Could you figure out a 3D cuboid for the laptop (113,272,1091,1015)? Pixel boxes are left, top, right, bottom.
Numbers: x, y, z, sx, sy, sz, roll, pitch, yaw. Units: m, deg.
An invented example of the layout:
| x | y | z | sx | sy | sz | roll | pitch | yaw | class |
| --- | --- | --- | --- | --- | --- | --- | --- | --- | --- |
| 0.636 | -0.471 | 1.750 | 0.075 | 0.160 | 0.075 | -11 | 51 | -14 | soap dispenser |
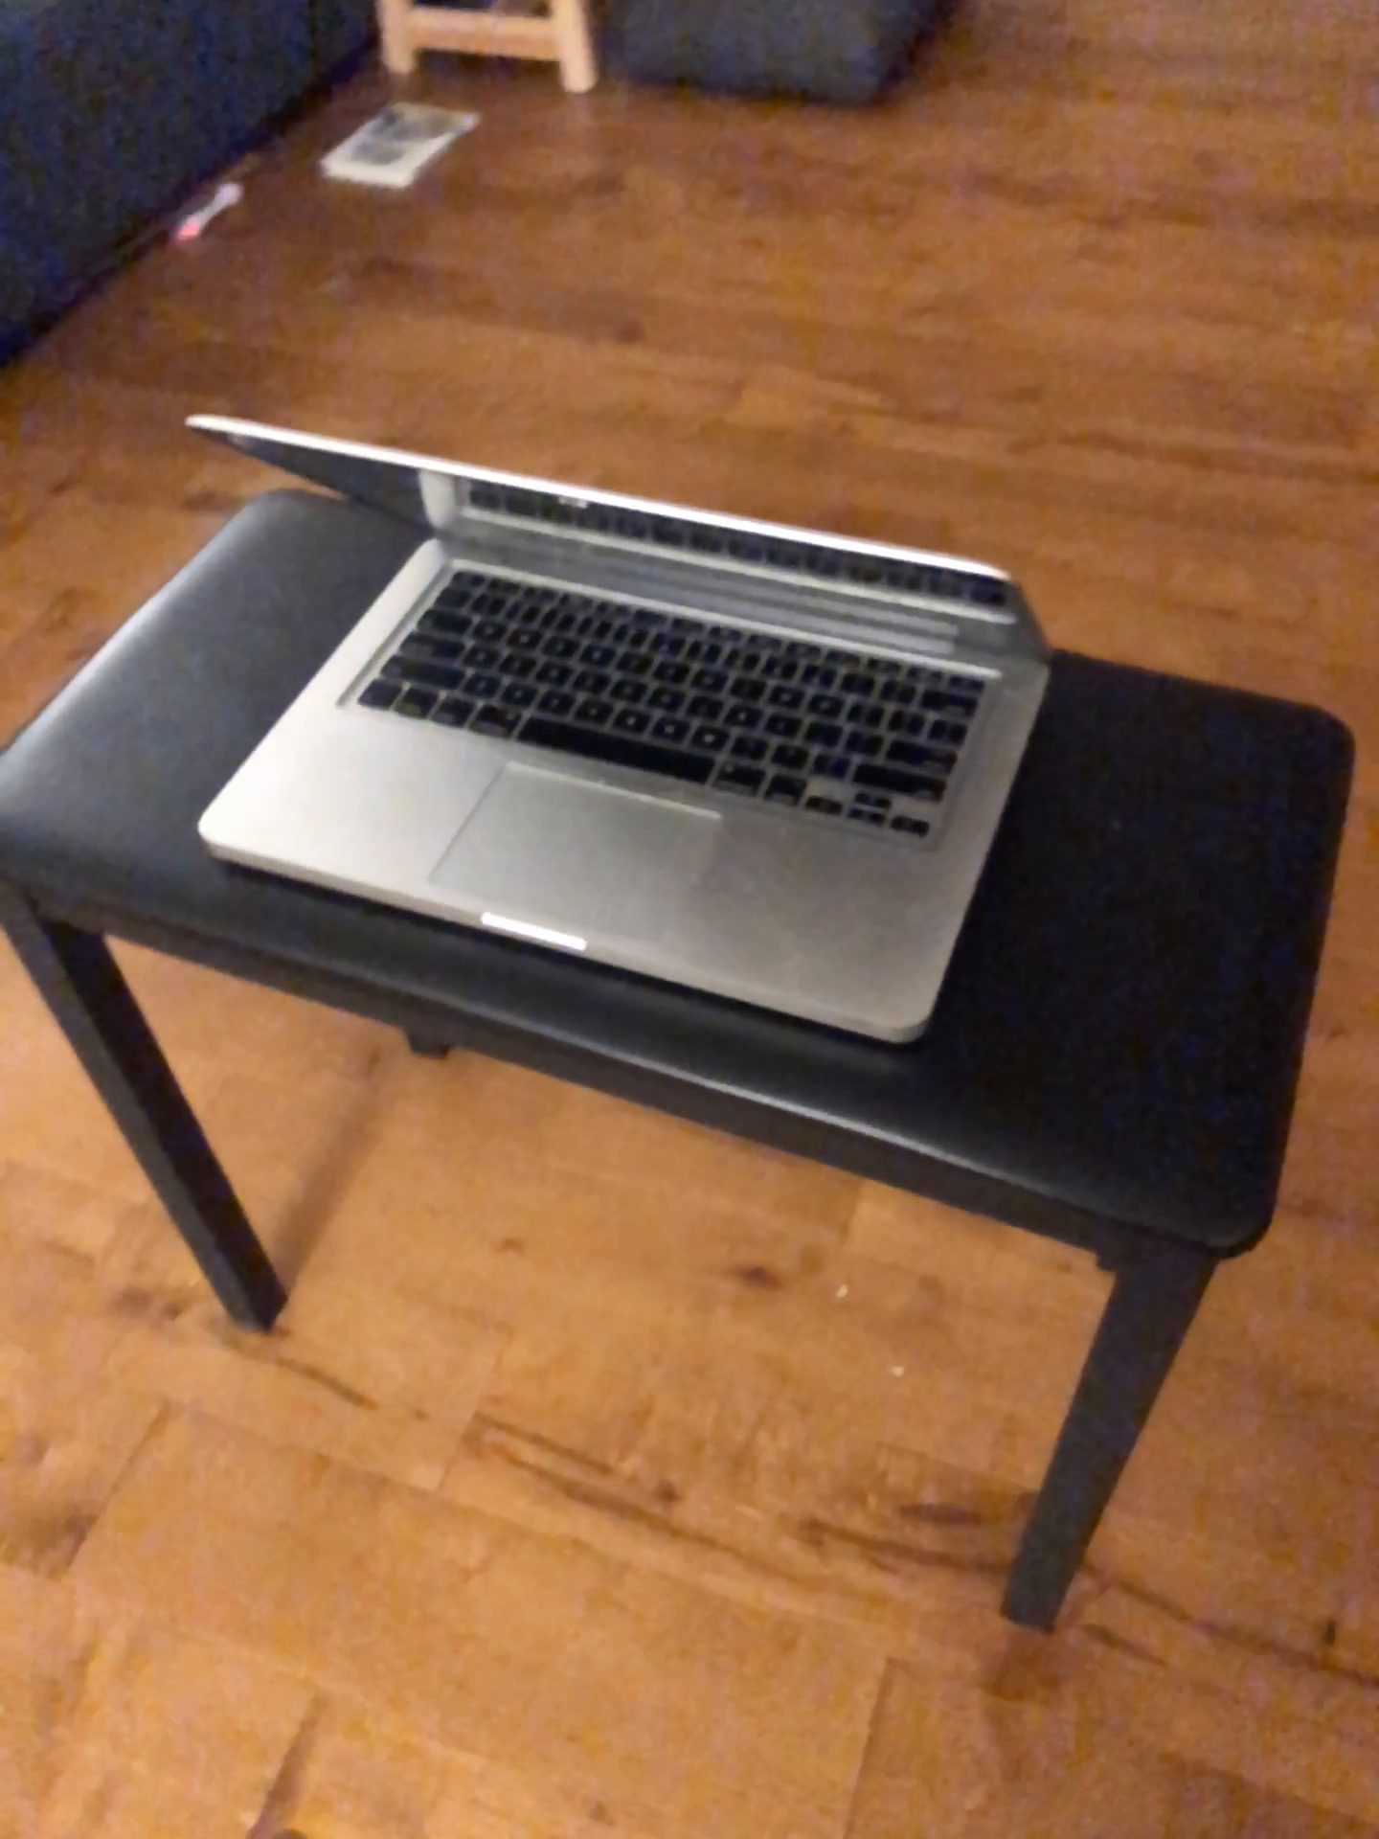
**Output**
| x | y | z | sx | sy | sz | roll | pitch | yaw | class |
| --- | --- | --- | --- | --- | --- | --- | --- | --- | --- |
| -0.026 | -0.125 | 0.608 | 0.310 | 0.144 | 0.209 | 14 | 52 | 19 | laptop |
